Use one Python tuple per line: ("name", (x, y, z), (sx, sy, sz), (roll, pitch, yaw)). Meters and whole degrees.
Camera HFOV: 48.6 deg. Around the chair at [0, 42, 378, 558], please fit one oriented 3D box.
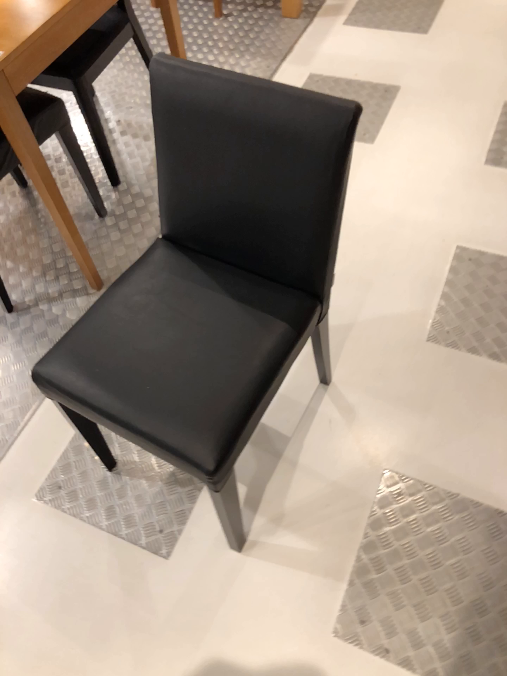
("chair", (-0.114, -0.019, 1.161), (0.471, 0.826, 0.552), (24, 62, 21))
